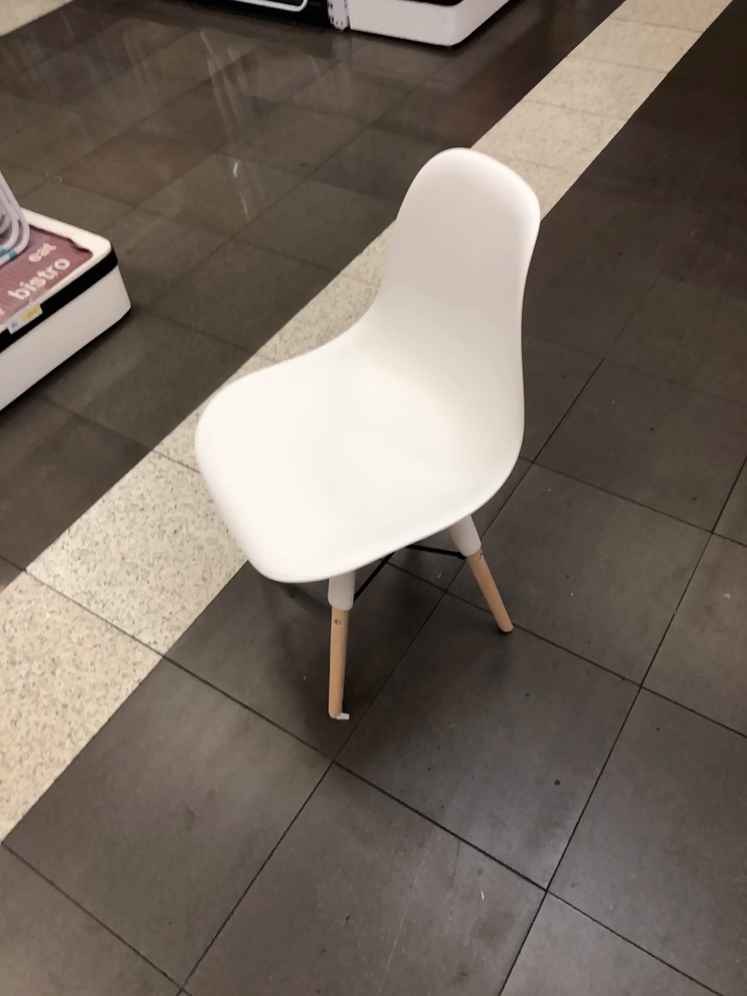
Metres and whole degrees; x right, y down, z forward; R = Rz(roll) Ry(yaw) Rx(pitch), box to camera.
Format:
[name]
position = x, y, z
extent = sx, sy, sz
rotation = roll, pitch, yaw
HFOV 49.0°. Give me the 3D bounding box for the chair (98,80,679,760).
[chair]
position = 0.007, -0.091, 1.290
extent = 0.540, 0.794, 0.523
rotation = -20, 50, -12
